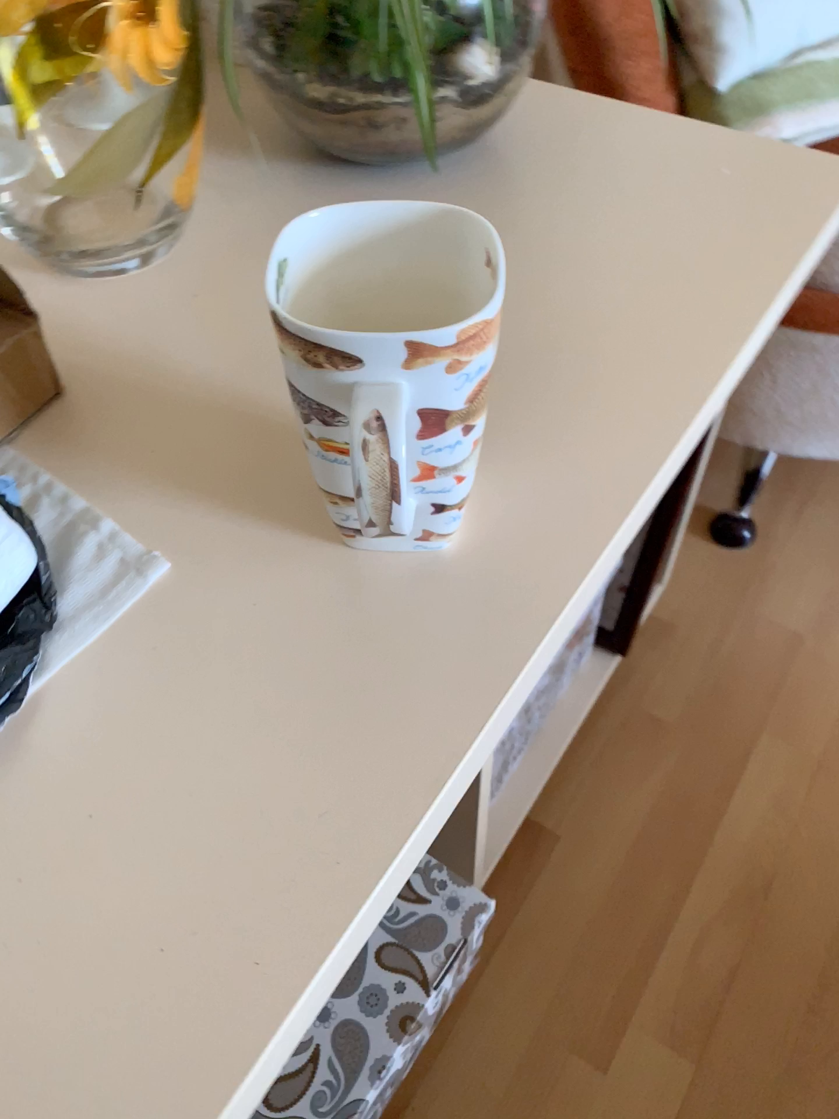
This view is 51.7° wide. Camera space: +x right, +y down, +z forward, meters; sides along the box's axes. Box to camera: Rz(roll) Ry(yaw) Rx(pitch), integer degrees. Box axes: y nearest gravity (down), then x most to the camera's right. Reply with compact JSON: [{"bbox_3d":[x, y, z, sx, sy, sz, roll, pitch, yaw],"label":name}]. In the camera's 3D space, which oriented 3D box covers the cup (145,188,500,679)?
[{"bbox_3d":[-0.023,-0.050,0.347,0.100,0.129,0.141,3,51,4],"label":"cup"}]
